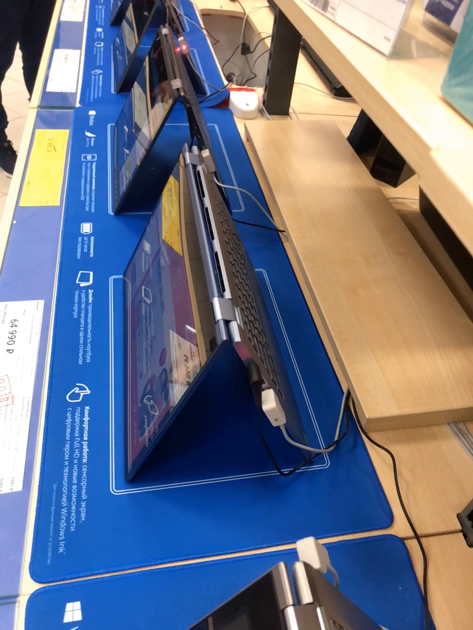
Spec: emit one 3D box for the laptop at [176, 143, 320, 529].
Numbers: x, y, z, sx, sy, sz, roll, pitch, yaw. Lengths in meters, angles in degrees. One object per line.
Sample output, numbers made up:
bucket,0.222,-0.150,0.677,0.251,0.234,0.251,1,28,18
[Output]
laptop,0.004,0.045,0.680,0.221,0.157,0.307,27,32,-37
